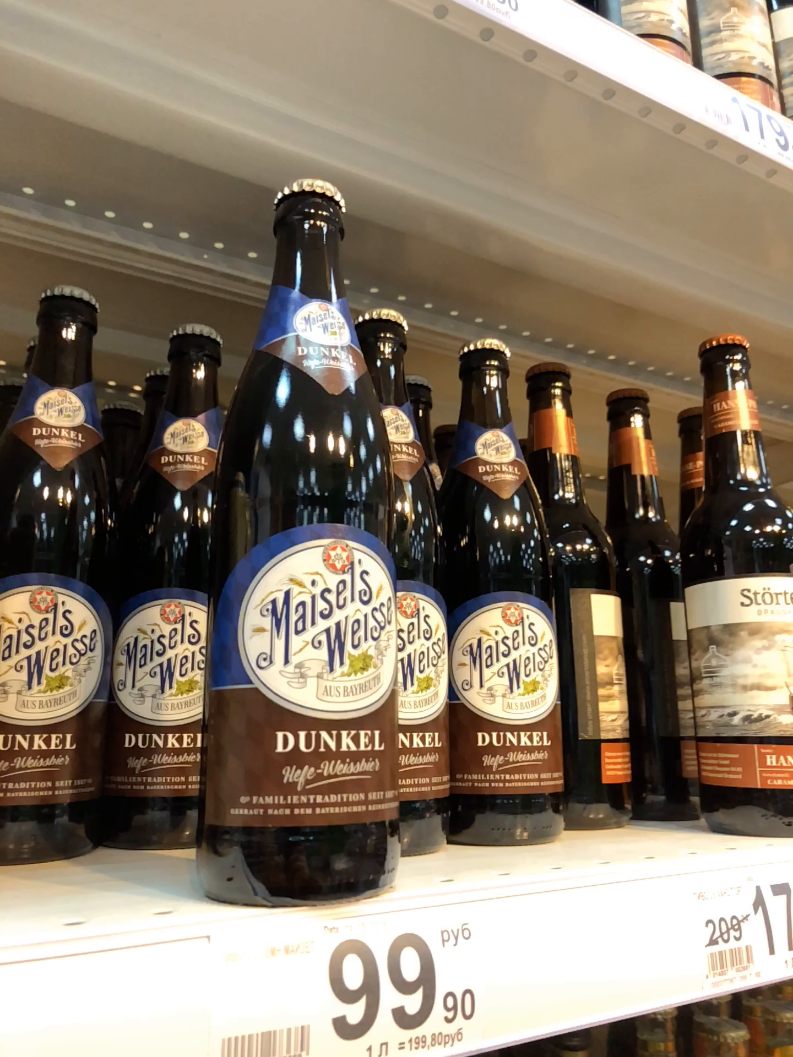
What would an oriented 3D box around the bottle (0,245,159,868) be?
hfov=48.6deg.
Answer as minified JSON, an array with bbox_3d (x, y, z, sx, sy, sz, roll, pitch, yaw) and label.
[{"bbox_3d":[-0.159,0.012,0.412,0.070,0.263,0.082,5,-14,-18],"label":"bottle"}]

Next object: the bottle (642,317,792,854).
[{"bbox_3d":[0.191,0.028,0.484,0.065,0.275,0.066,0,-13,0],"label":"bottle"}]

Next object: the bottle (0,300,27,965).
[{"bbox_3d":[-0.166,0.029,0.268,0.069,0.168,0.067,0,-13,0],"label":"bottle"}]

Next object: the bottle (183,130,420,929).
[{"bbox_3d":[-0.034,-0.005,0.323,0.065,0.264,0.066,0,-13,0],"label":"bottle"}]
